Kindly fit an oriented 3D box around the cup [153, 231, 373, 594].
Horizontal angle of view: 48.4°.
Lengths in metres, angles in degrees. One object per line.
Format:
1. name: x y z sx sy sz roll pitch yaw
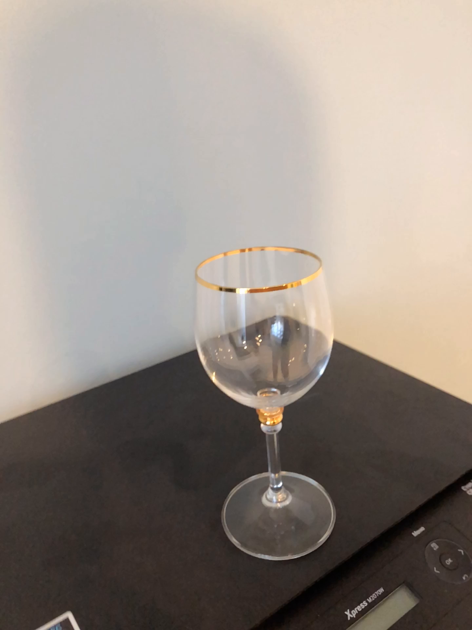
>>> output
1. cup: 0.020 0.052 0.318 0.087 0.177 0.086 -5 22 2
